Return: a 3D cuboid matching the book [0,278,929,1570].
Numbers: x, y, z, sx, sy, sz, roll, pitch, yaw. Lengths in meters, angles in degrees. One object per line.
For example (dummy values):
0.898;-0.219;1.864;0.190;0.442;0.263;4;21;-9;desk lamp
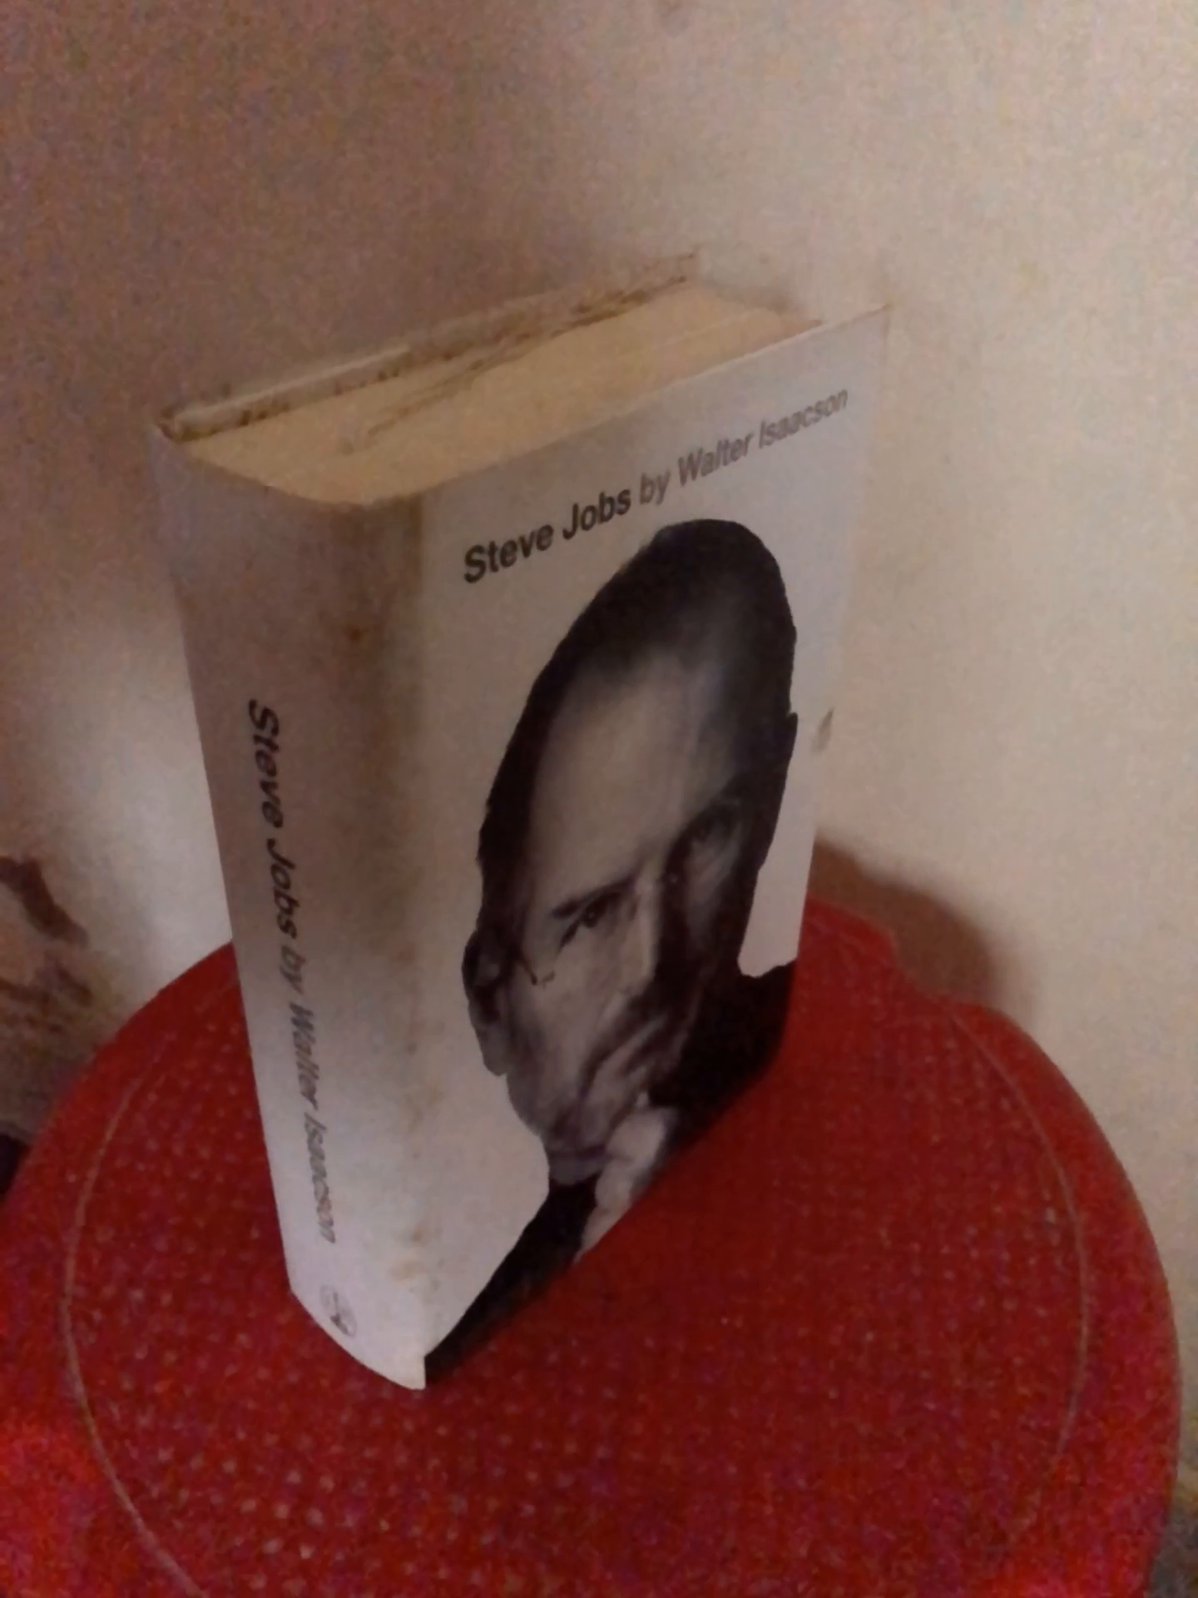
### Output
-0.014;0.025;0.295;0.060;0.229;0.171;26;42;31;book
